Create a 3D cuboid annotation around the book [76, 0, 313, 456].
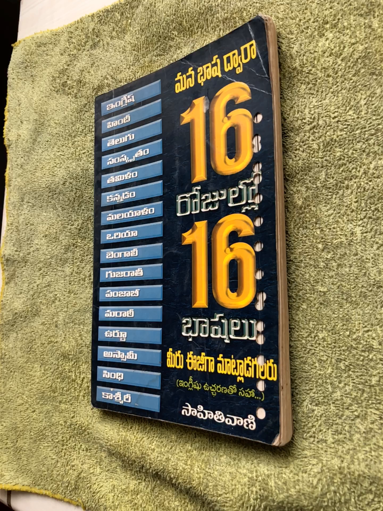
[{"bbox_3d":[-0.008,-0.020,0.245,0.141,0.030,0.220,-6,82,39],"label":"book"}]
